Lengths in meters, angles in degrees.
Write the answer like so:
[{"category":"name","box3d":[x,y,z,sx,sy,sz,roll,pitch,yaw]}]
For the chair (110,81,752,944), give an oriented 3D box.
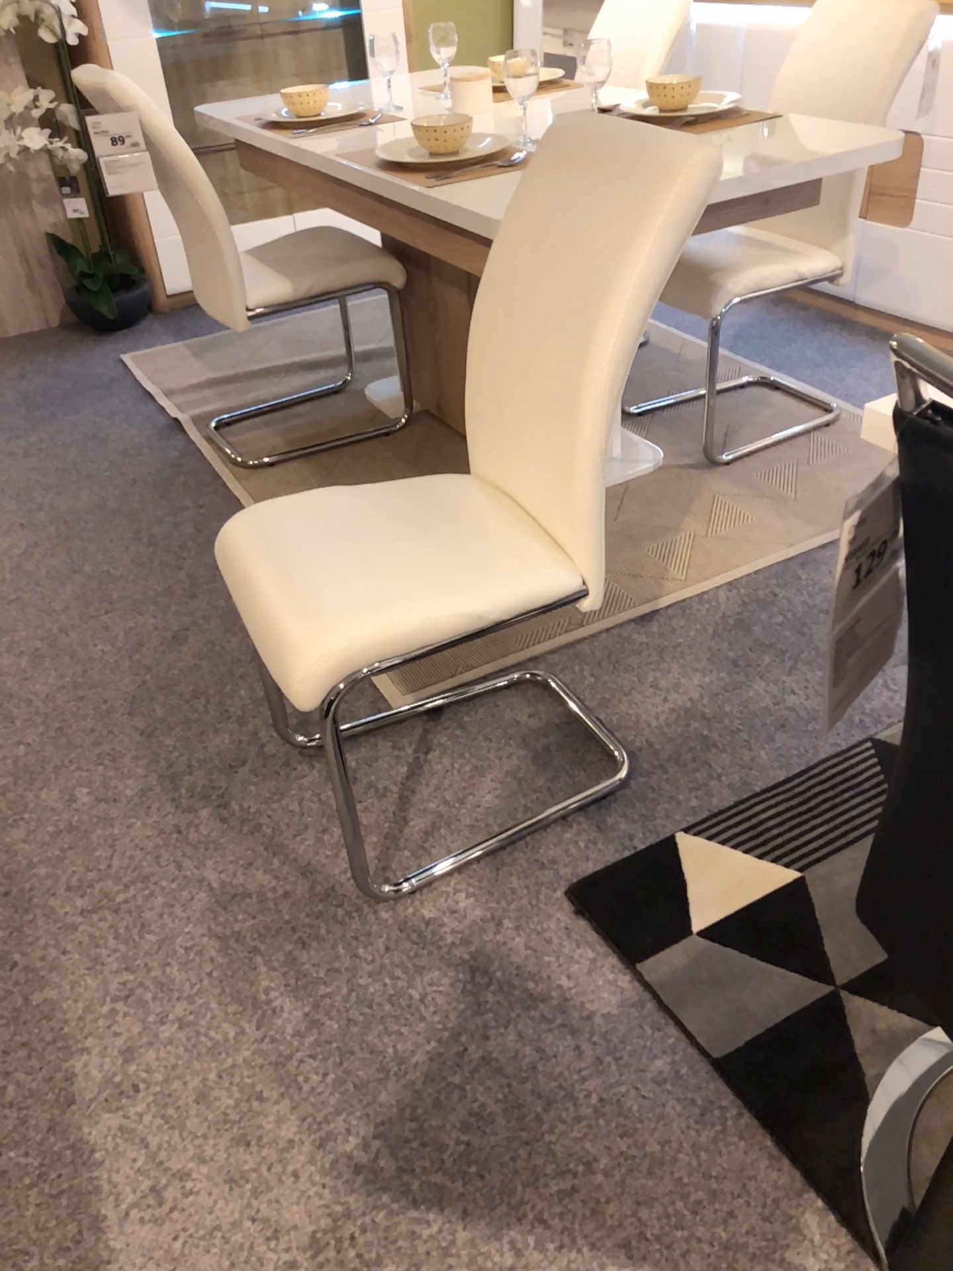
[{"category":"chair","box3d":[-0.048,-0.178,1.407,0.552,0.925,0.502,-19,37,-21]}]
